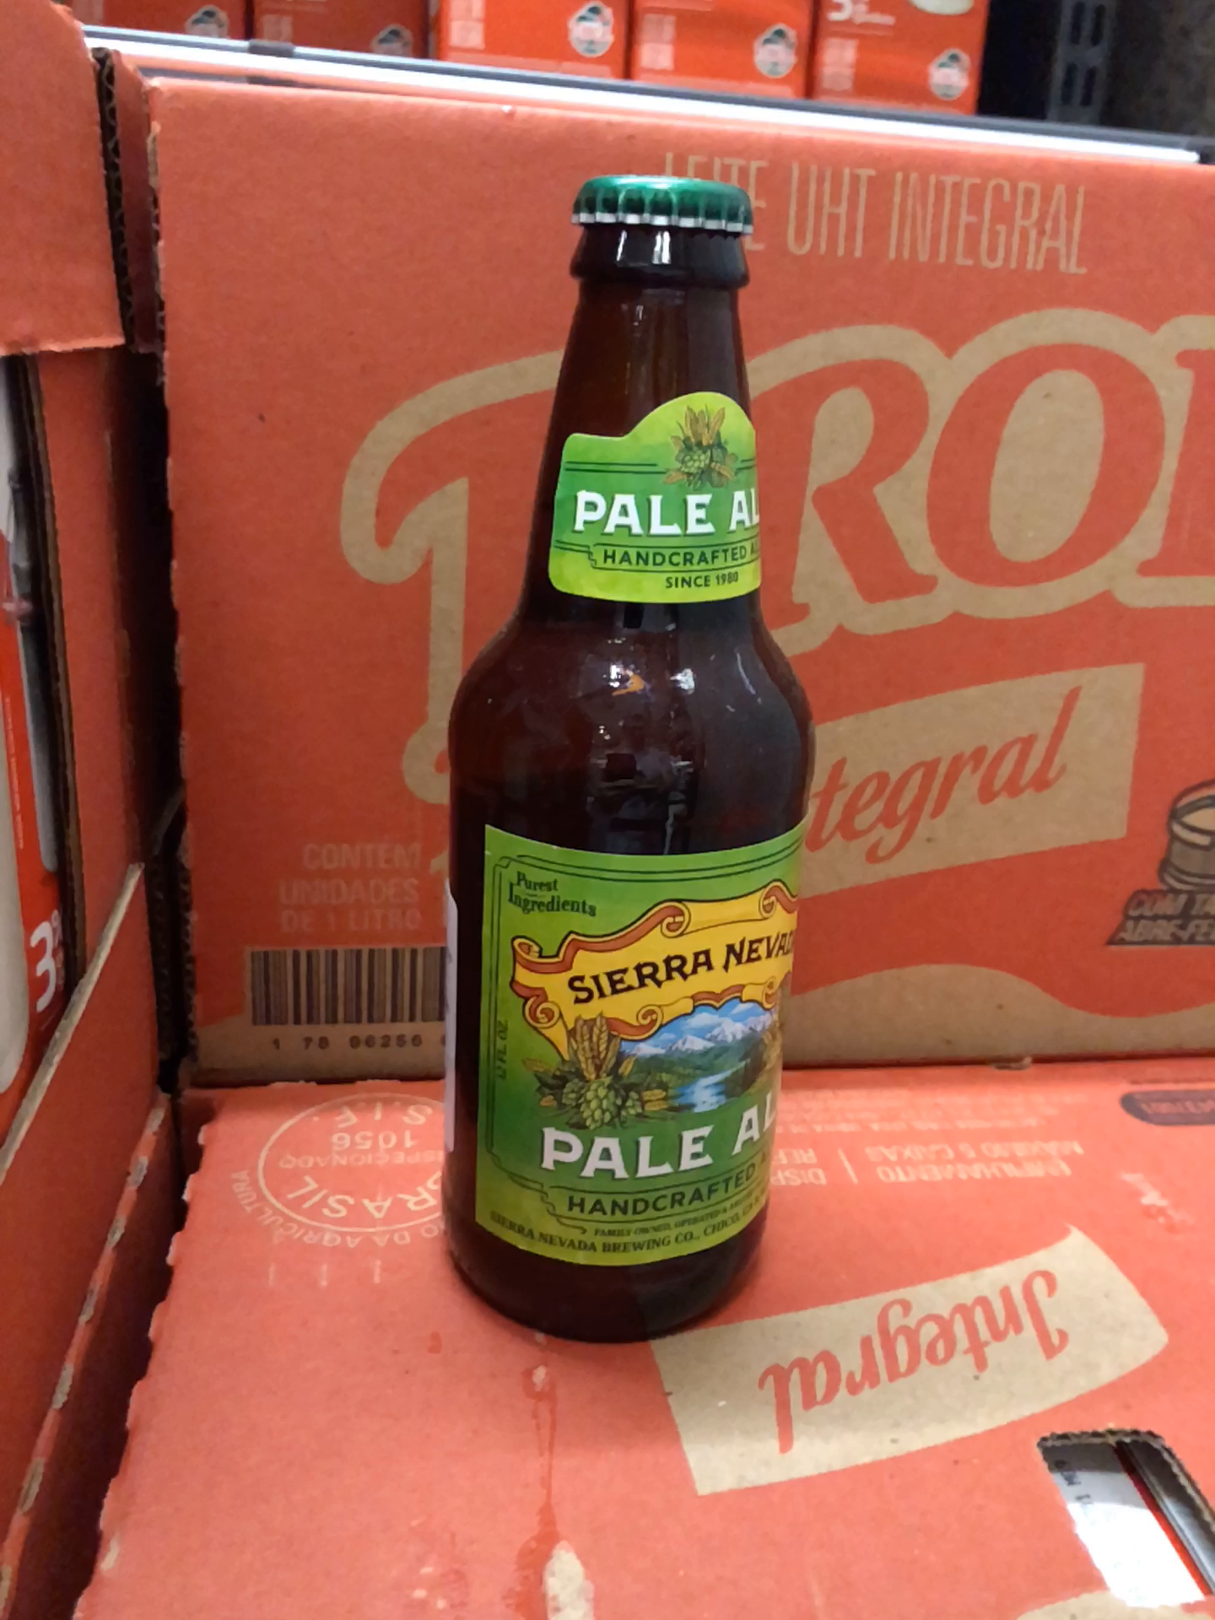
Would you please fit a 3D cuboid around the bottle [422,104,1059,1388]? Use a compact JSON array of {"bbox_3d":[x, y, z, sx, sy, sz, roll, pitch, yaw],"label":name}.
[{"bbox_3d":[0.013,-0.008,0.233,0.070,0.189,0.060,-4,19,-24],"label":"bottle"}]
